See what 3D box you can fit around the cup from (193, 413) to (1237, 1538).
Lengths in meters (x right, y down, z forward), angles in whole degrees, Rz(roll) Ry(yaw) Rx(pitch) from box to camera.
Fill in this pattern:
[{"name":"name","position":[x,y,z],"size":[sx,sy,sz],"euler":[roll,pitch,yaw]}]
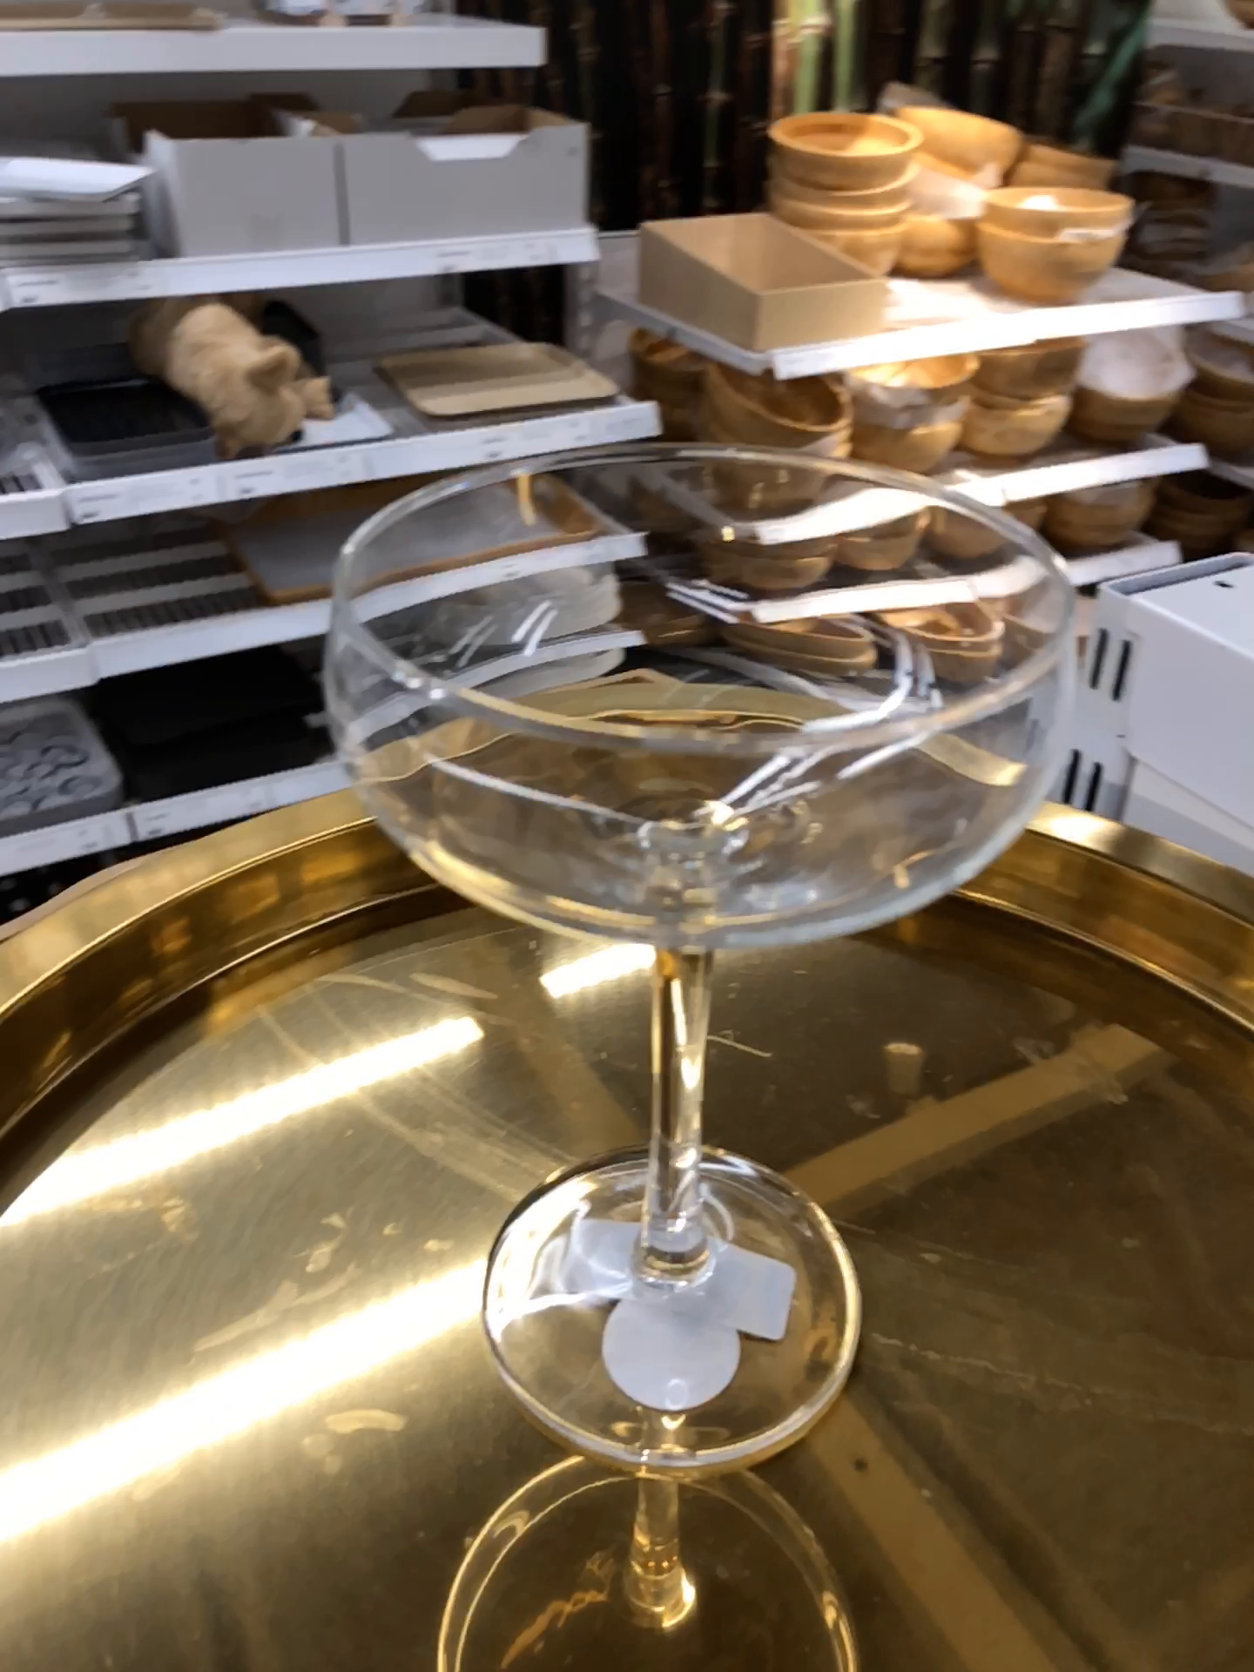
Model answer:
[{"name":"cup","position":[0.011,0.018,0.230],"size":[0.110,0.139,0.110],"euler":[1,32,-1]}]
